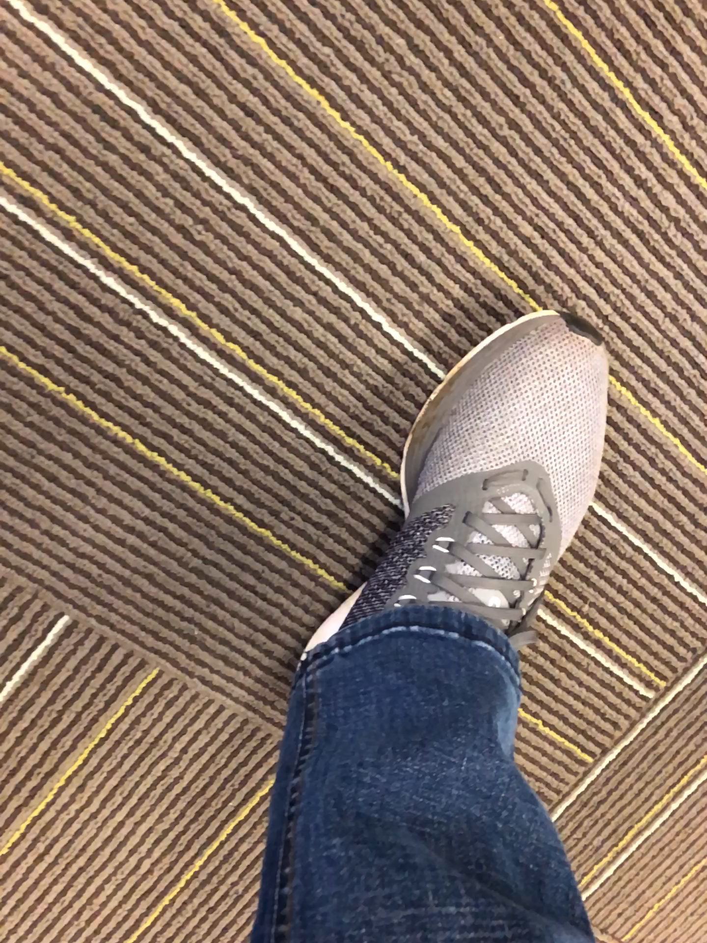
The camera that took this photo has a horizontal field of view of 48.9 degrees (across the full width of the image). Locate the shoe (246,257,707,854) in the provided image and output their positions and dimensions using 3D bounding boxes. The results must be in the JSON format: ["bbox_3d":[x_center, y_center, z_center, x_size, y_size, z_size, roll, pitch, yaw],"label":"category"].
[{"bbox_3d":[0.065,0.049,0.433,0.120,0.060,0.300,27,94,-17],"label":"shoe"}]
